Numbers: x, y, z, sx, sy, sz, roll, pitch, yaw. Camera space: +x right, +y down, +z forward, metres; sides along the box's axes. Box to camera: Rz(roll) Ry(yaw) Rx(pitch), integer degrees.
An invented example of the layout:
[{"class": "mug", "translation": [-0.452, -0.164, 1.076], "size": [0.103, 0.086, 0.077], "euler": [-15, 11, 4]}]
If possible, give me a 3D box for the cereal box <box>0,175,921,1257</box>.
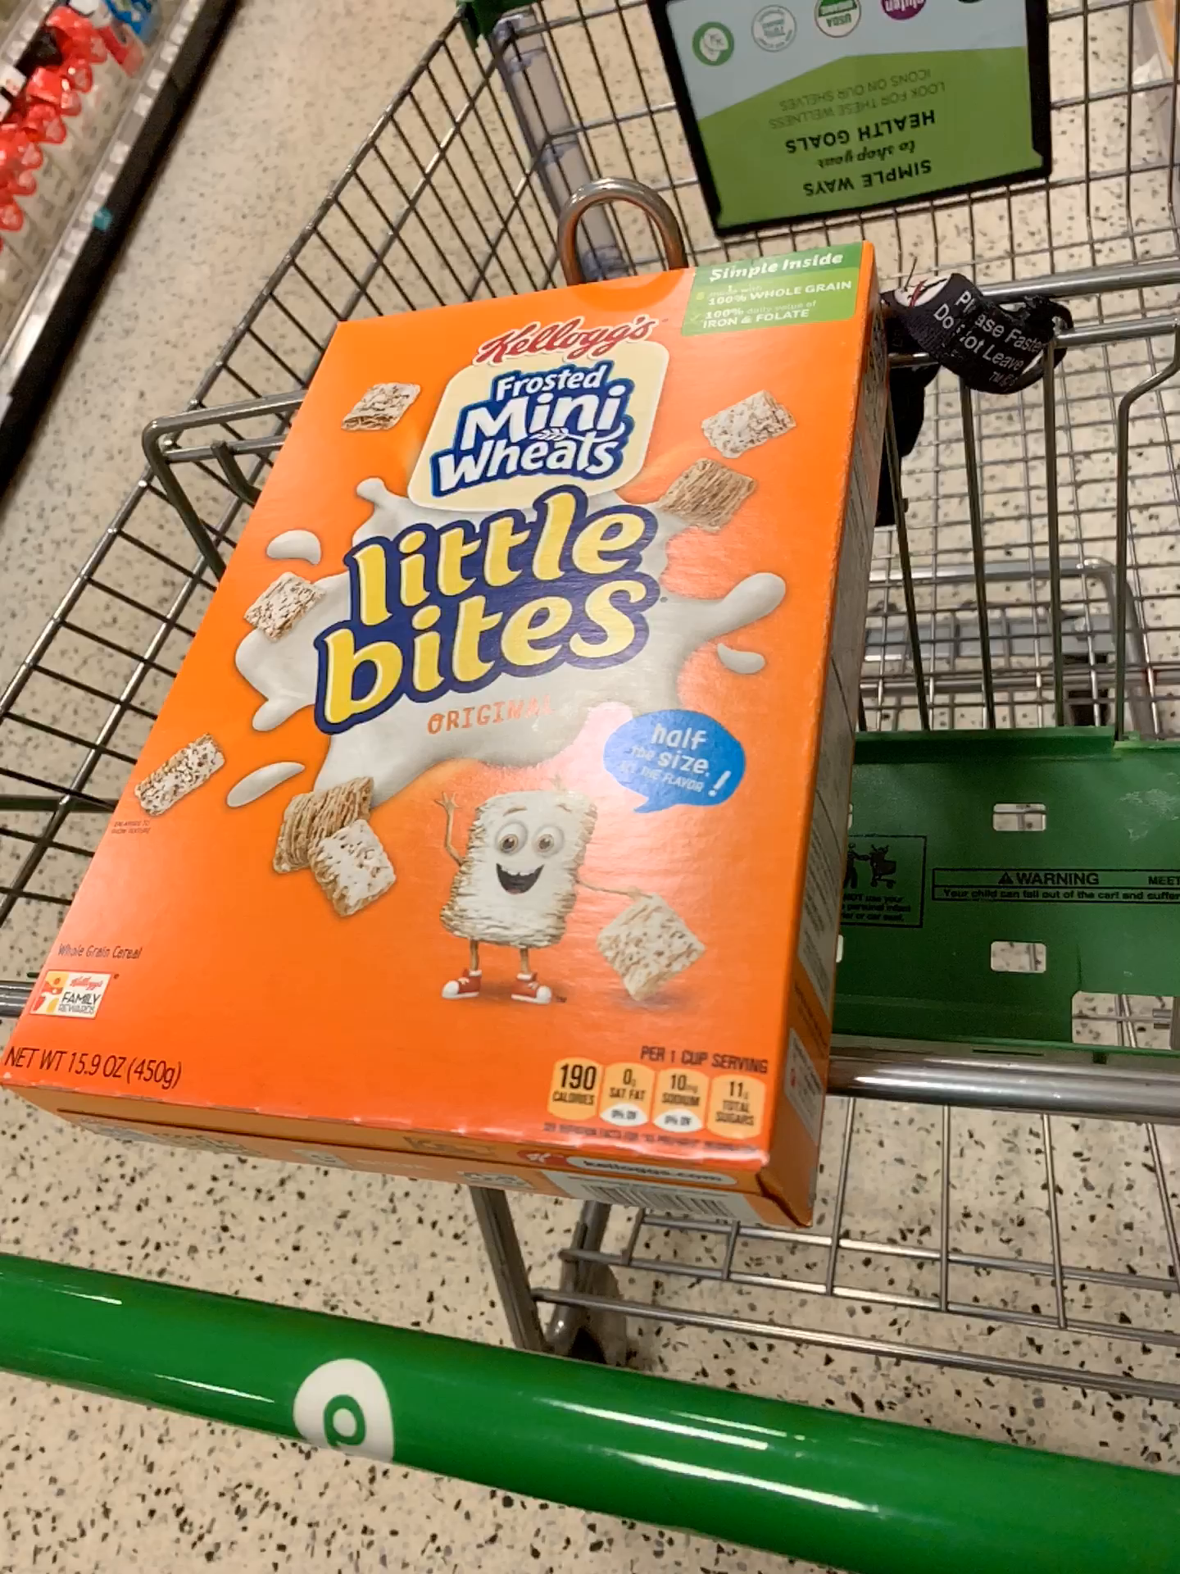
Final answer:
[{"class": "cereal box", "translation": [-0.019, -0.046, 0.370], "size": [0.210, 0.060, 0.322], "euler": [0, 56, 21]}]
